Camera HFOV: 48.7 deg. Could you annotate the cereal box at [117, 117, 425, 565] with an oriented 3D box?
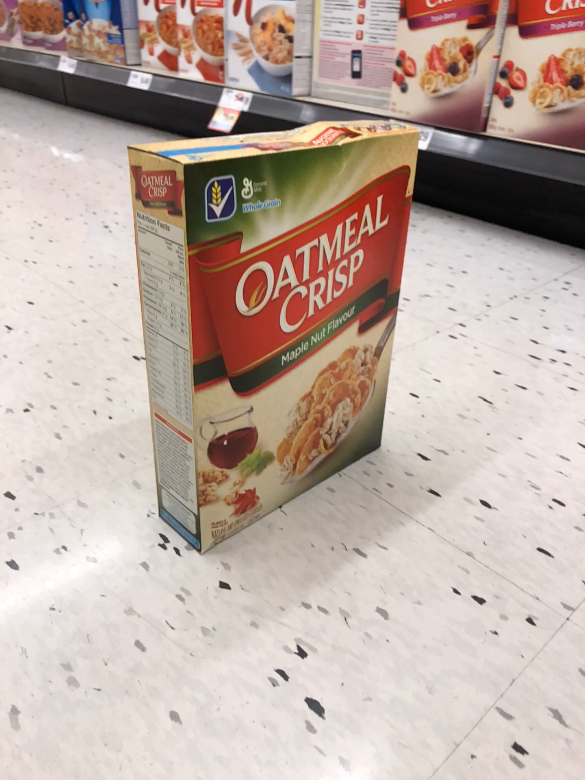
[{"bbox_3d":[-0.007,-0.038,0.443,0.201,0.258,0.050,-25,40,-39],"label":"cereal box"}]
